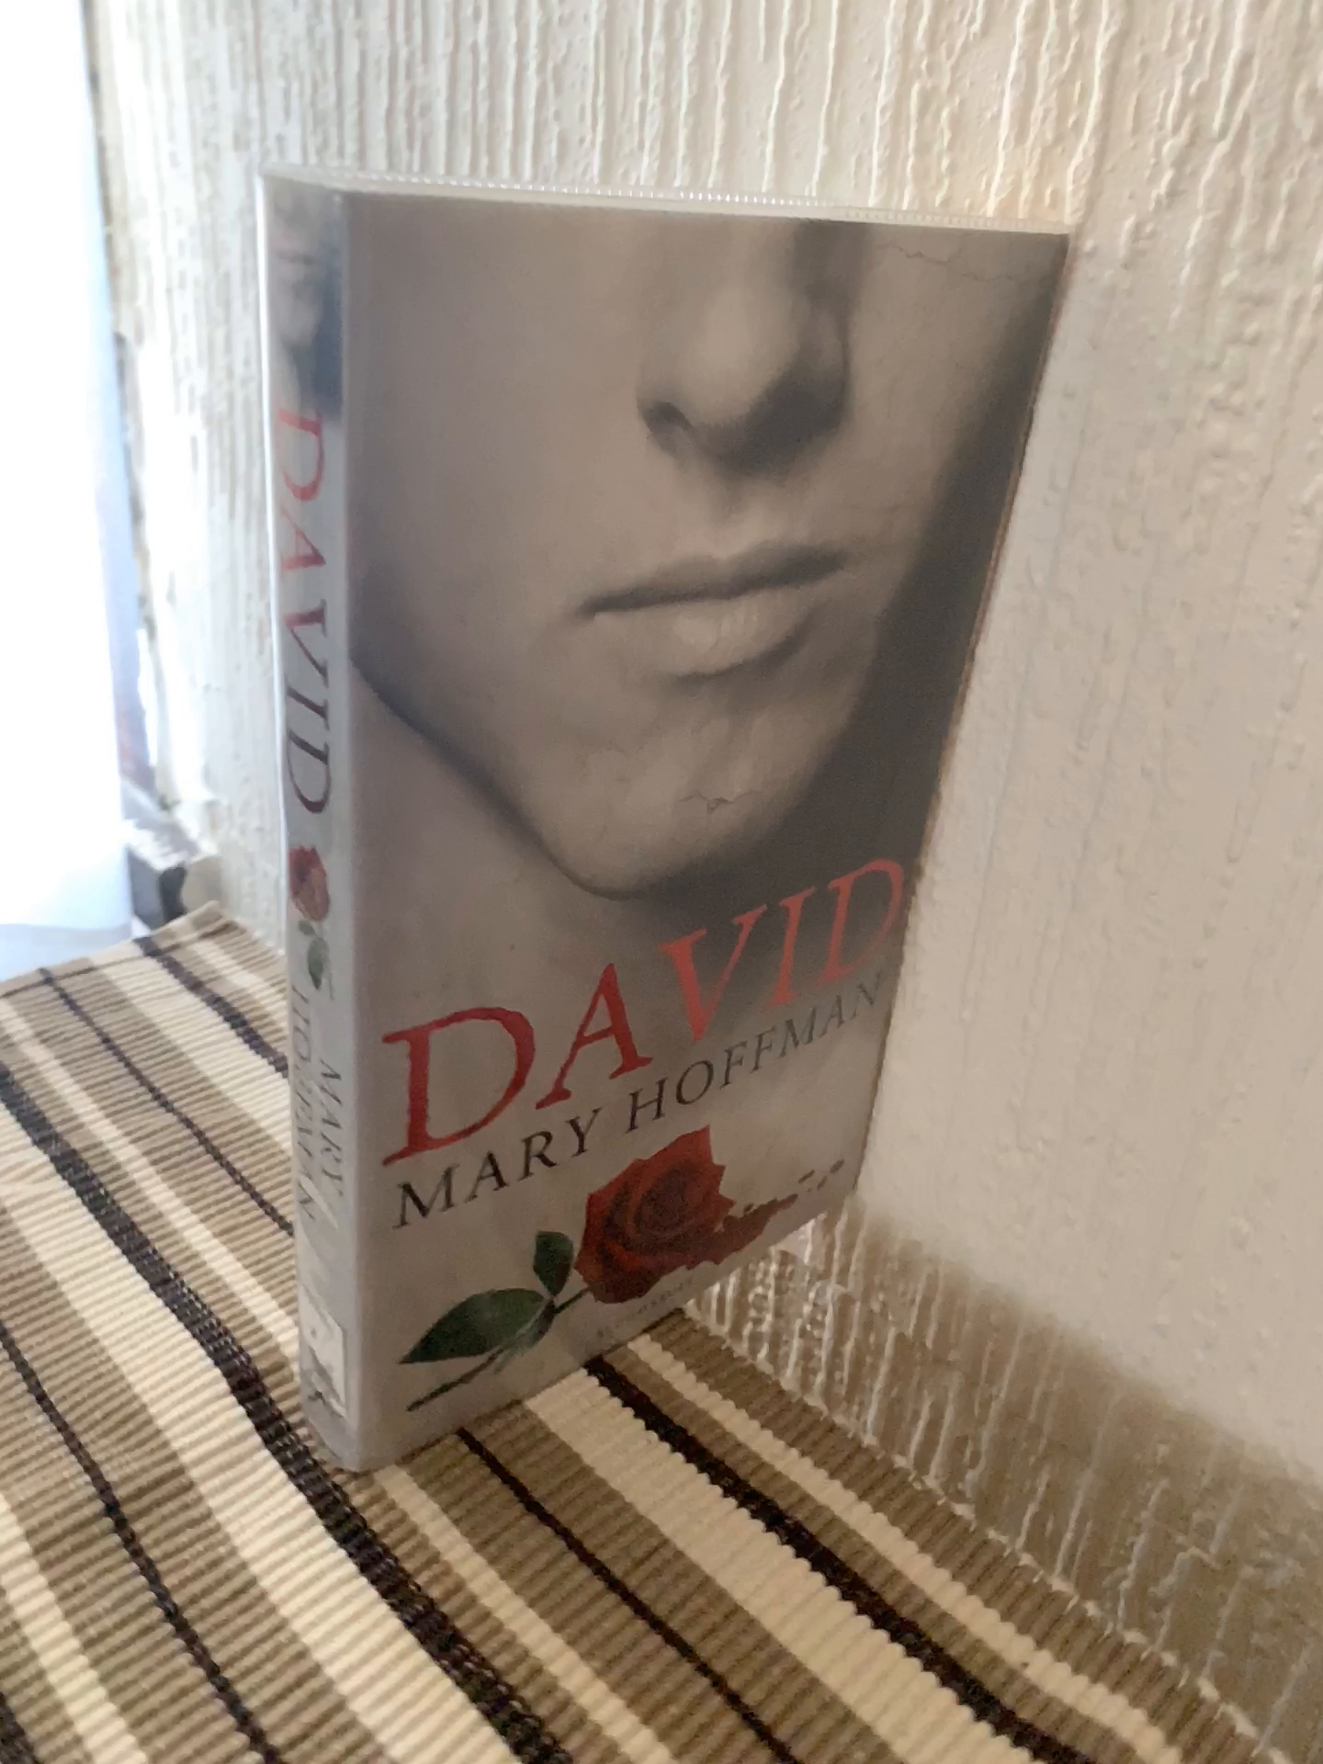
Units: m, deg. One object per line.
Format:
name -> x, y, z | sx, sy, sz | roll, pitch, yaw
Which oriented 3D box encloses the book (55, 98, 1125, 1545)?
book -> -0.004, -0.011, 0.253 | 0.171, 0.218, 0.040 | -18, 36, -38
